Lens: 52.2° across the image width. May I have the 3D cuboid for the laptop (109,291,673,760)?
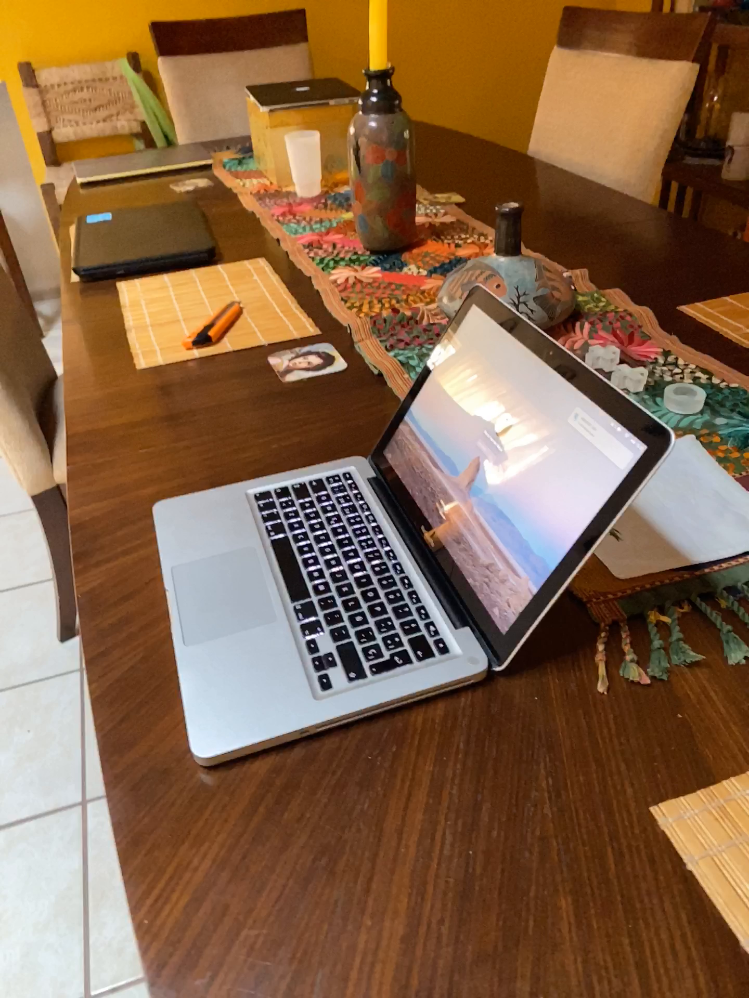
[{"bbox_3d":[-0.015,-0.013,0.654,0.357,0.170,0.326,-14,36,-13],"label":"laptop"}]
